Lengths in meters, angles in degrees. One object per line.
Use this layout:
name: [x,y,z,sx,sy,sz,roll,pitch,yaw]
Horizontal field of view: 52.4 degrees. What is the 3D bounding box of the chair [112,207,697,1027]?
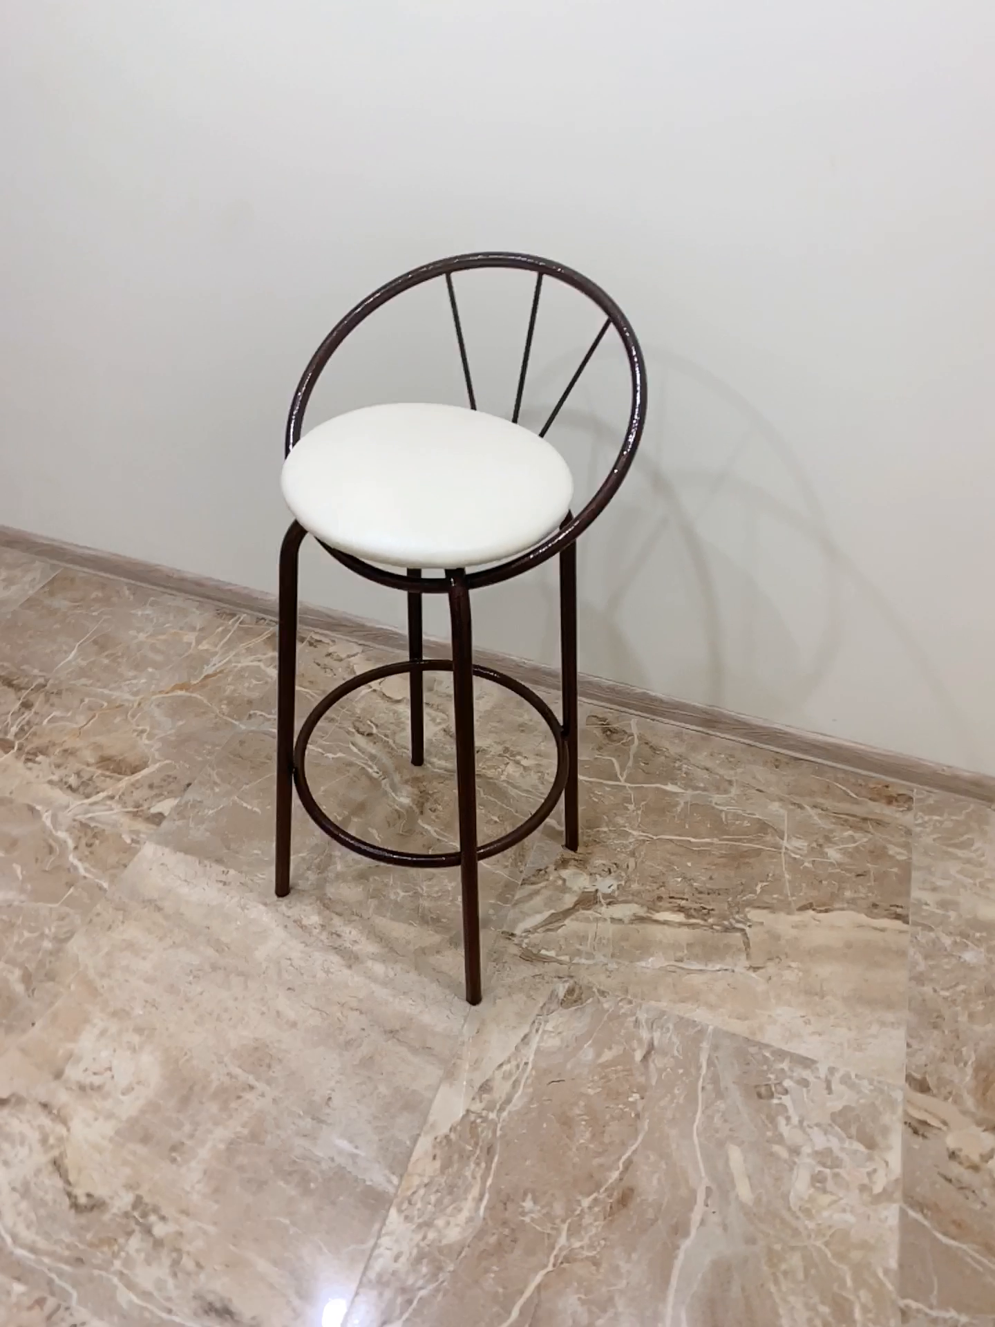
chair: [-0.088,-0.031,1.238,0.401,0.835,0.402,23,44,22]
